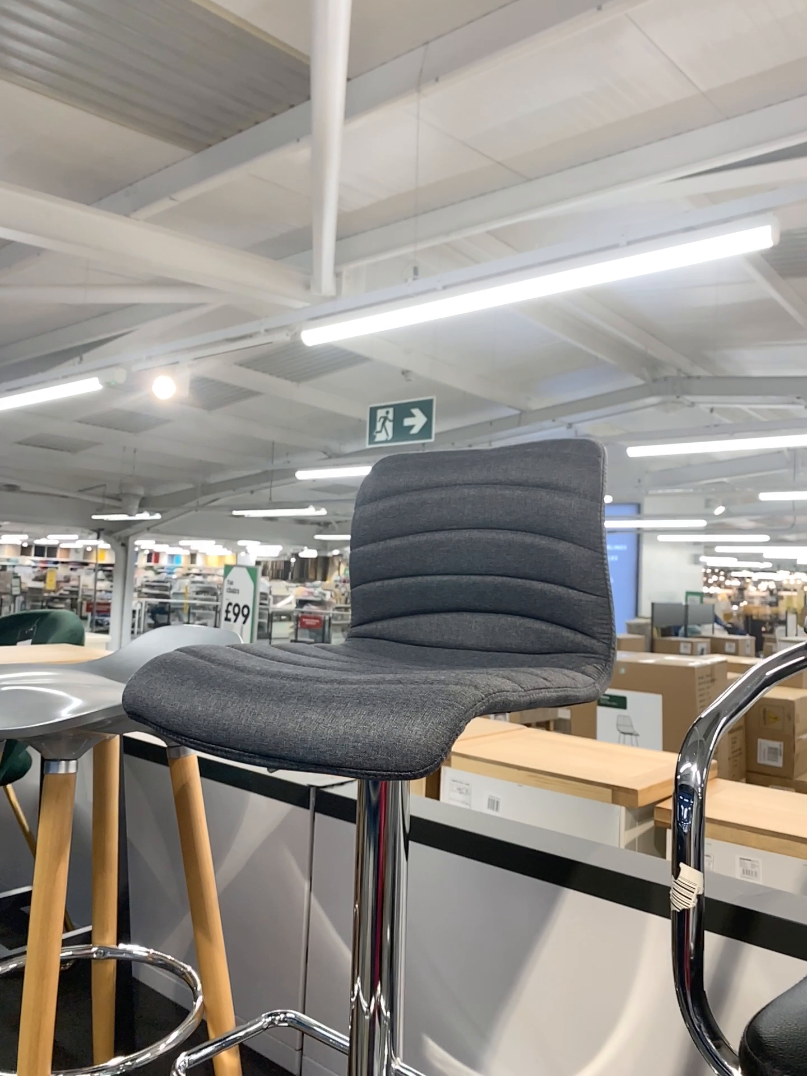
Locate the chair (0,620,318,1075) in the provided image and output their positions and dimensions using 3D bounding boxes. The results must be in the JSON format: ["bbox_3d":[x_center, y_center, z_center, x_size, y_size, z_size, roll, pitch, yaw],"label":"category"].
[{"bbox_3d":[-0.454,0.499,1.172,0.445,0.742,0.452,-2,-6,36],"label":"chair"}]

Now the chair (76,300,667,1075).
[{"bbox_3d":[-0.001,0.342,0.935,0.445,1.032,0.452,-2,-6,36],"label":"chair"}]
